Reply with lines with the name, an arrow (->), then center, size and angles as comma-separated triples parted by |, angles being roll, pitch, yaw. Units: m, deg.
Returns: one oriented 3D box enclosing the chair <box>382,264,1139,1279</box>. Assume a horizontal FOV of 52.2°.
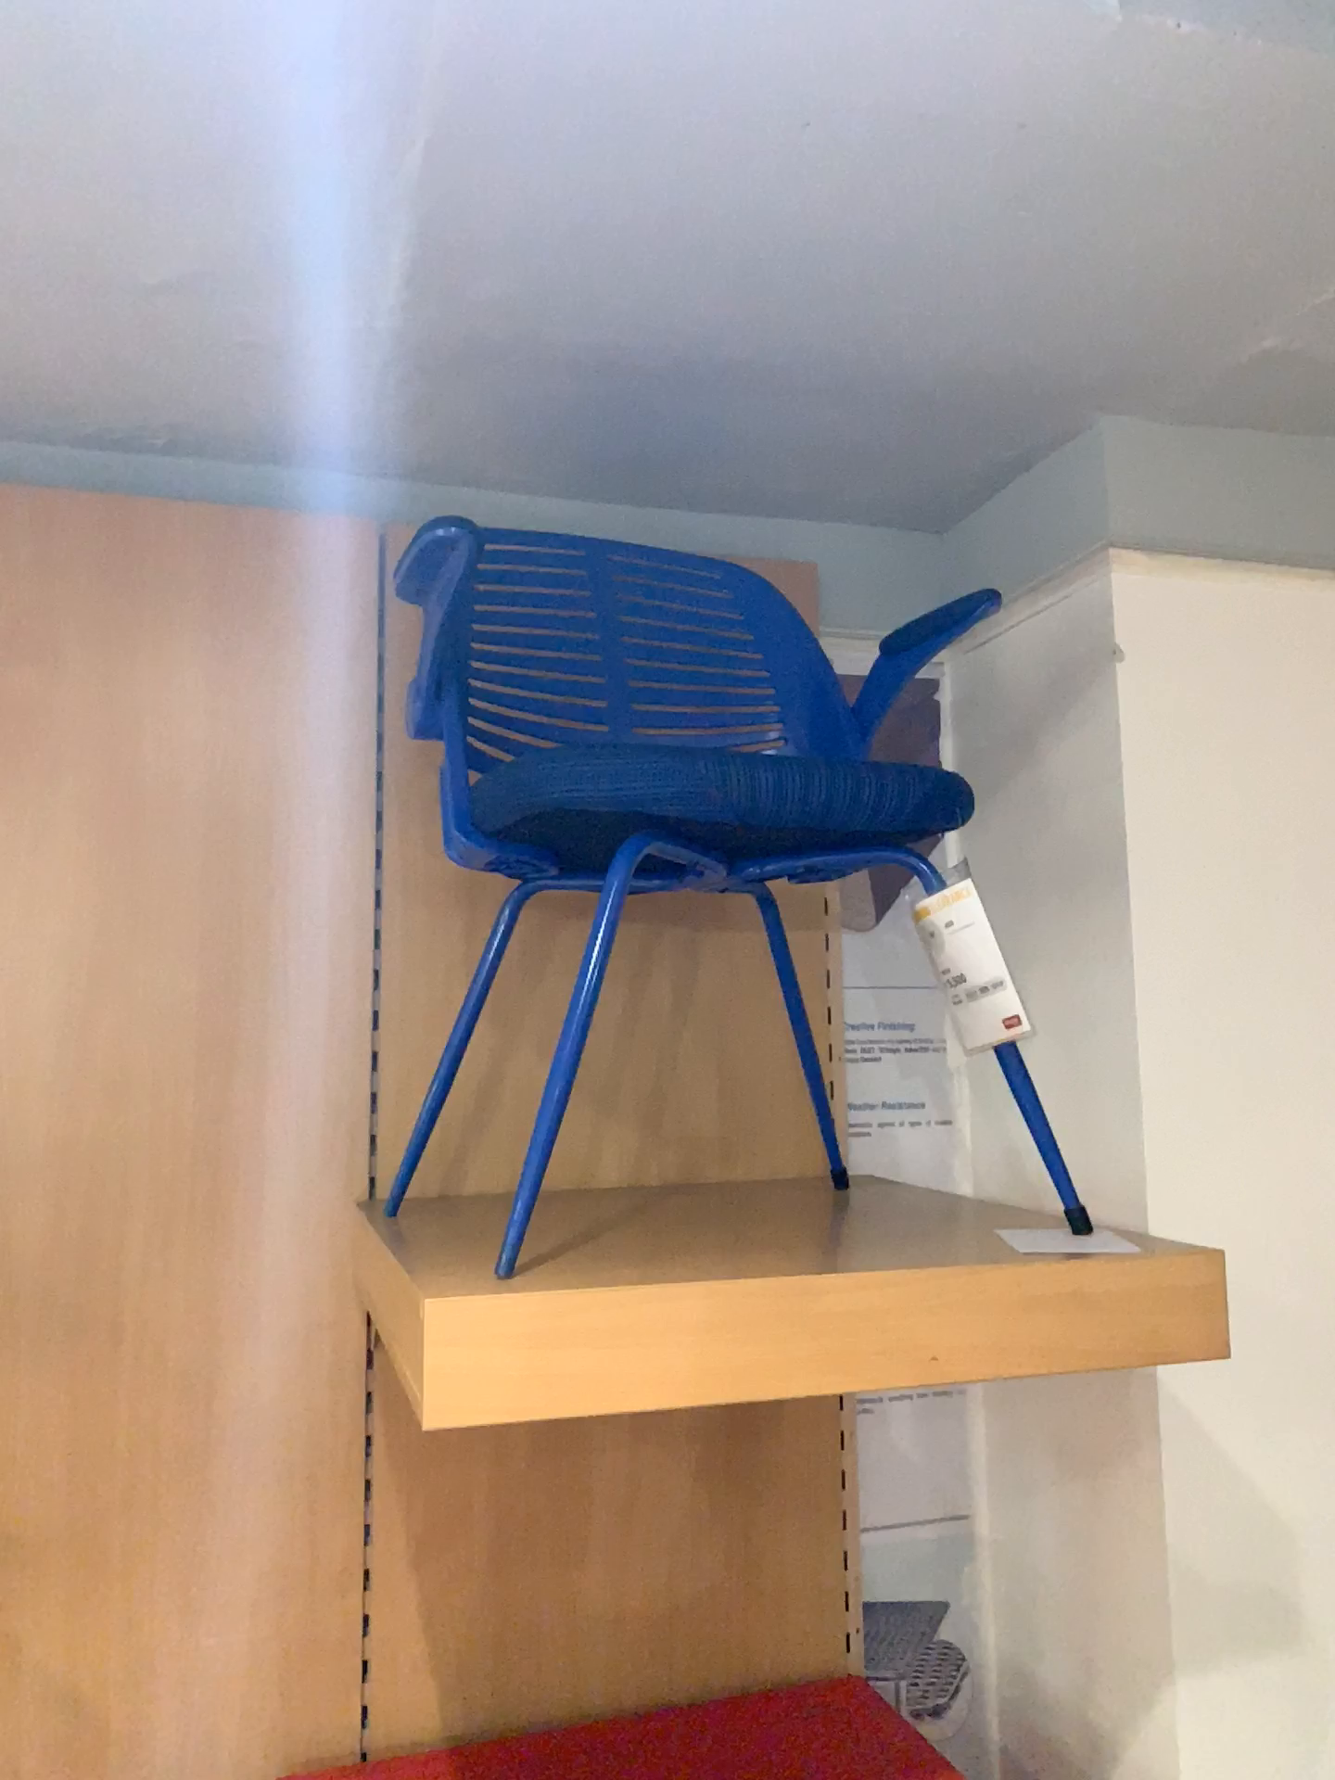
chair -> 0.046, -0.072, 1.402 | 0.570, 0.791, 0.549 | 2, -7, -22
